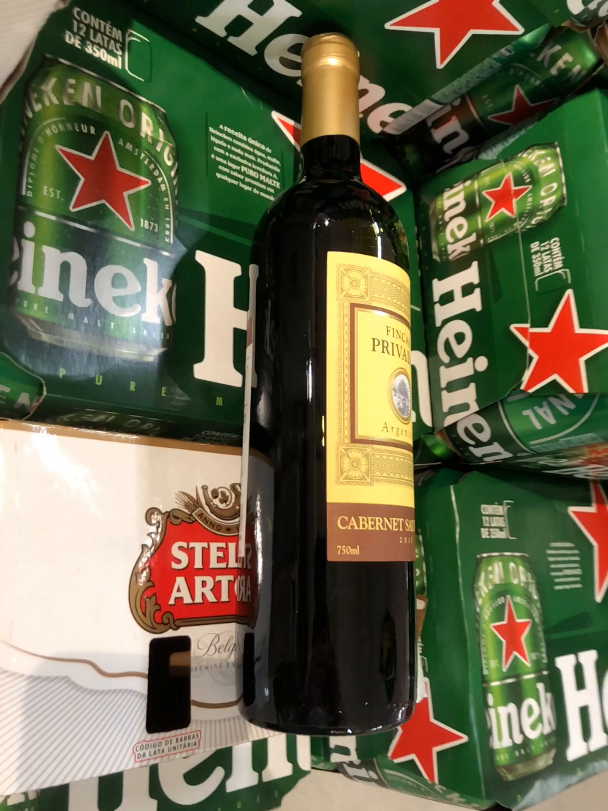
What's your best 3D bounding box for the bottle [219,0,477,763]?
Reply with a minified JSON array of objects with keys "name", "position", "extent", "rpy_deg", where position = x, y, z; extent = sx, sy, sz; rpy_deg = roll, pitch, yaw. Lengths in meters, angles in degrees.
[{"name":"bottle","position":[0.014,-0.035,0.303],"extent":[0.080,0.060,0.330],"rpy_deg":[12,70,-40]}]
